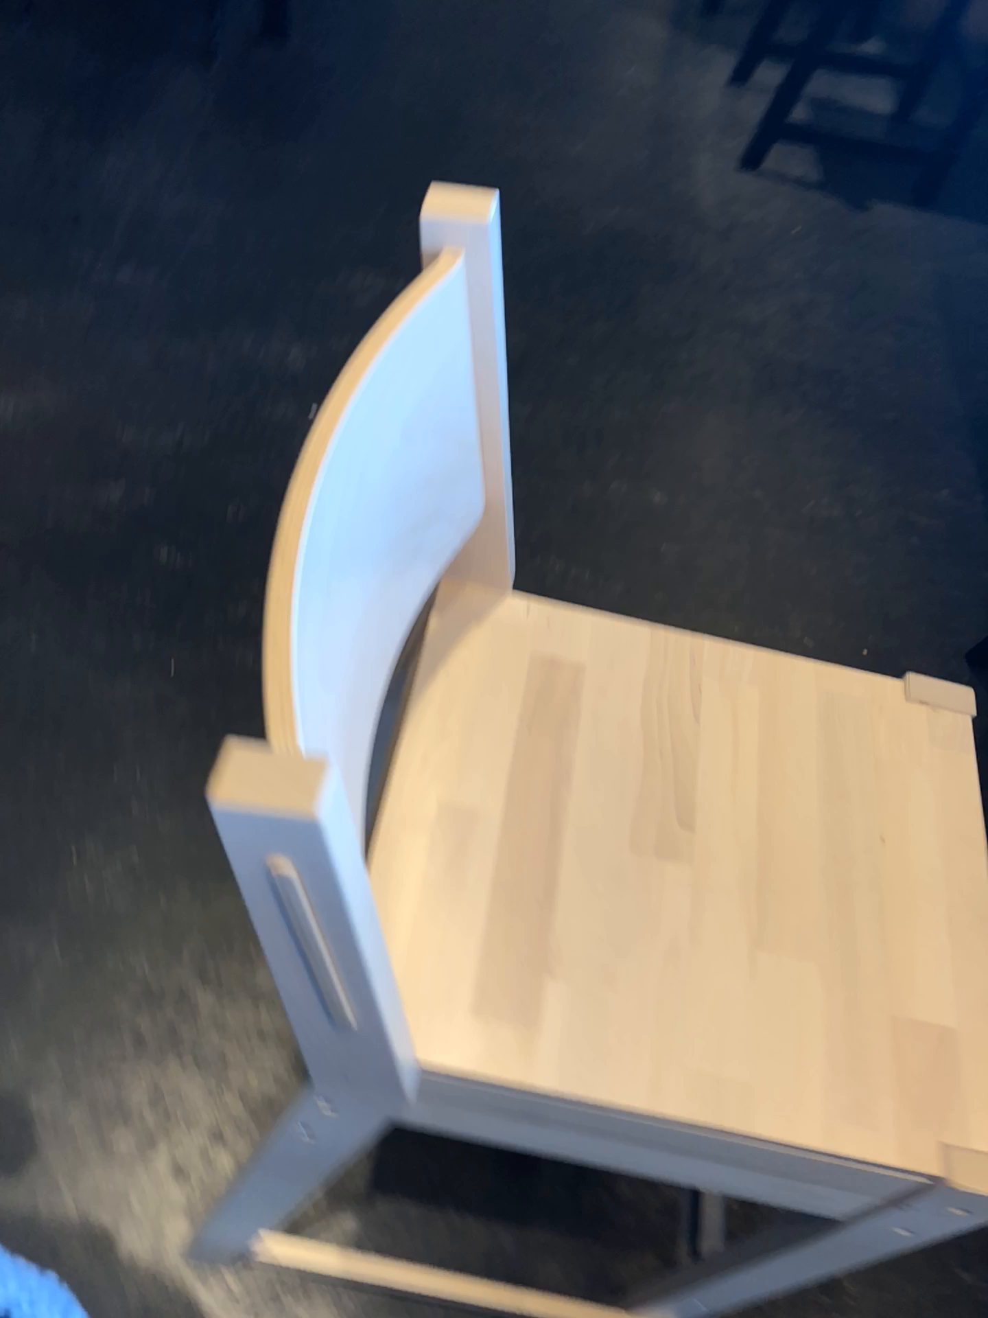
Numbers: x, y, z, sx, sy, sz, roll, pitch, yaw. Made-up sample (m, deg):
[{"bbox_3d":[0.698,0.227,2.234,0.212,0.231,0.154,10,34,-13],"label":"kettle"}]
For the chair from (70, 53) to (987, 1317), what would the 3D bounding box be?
[{"bbox_3d":[0.114,0.227,0.798,0.540,0.977,0.461,14,54,-3],"label":"chair"}]
